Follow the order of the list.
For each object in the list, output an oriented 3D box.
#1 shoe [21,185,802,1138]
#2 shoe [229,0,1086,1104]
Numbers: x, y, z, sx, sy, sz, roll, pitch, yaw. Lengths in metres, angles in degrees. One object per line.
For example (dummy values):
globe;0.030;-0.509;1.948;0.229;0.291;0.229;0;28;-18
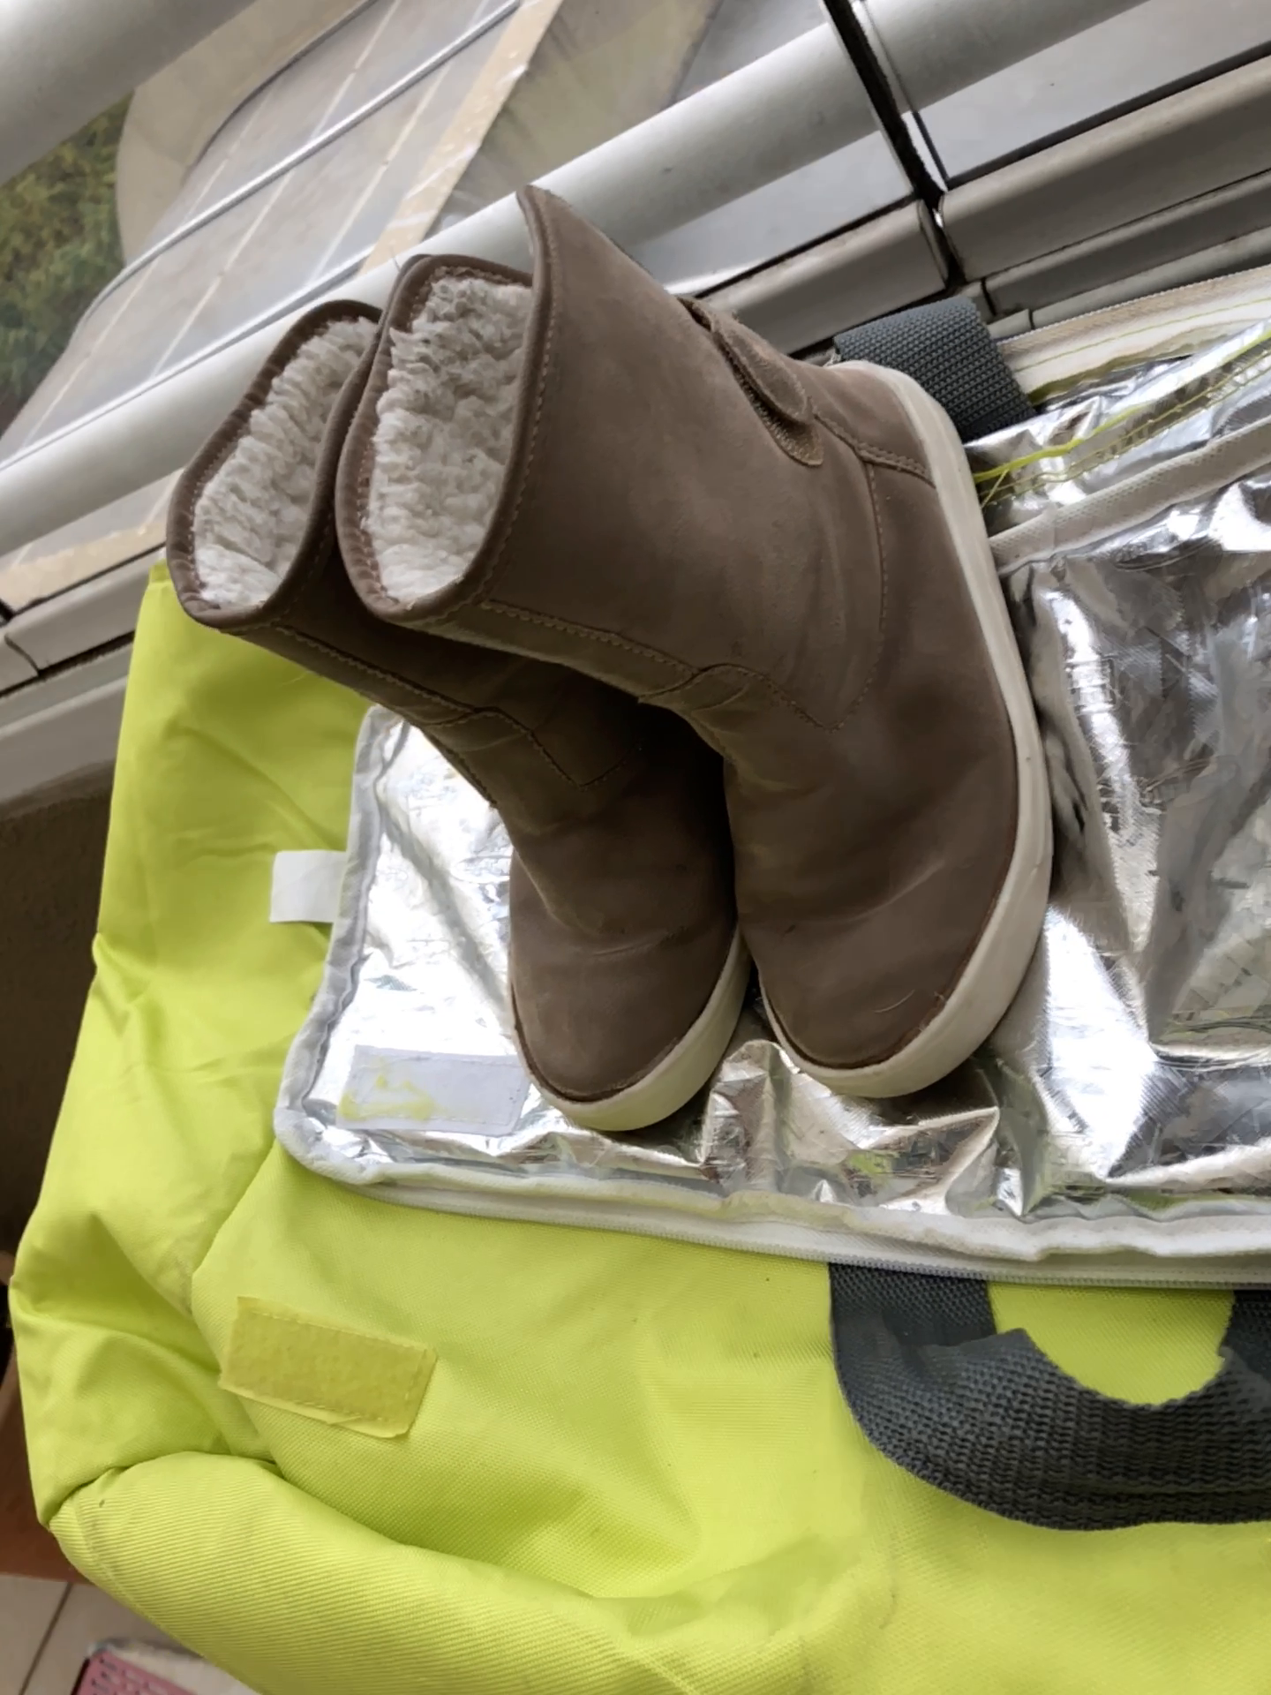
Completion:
shoe;-0.045;-0.024;0.360;0.090;0.169;0.190;-11;74;39
shoe;0.012;-0.049;0.310;0.090;0.169;0.200;-13;73;37
